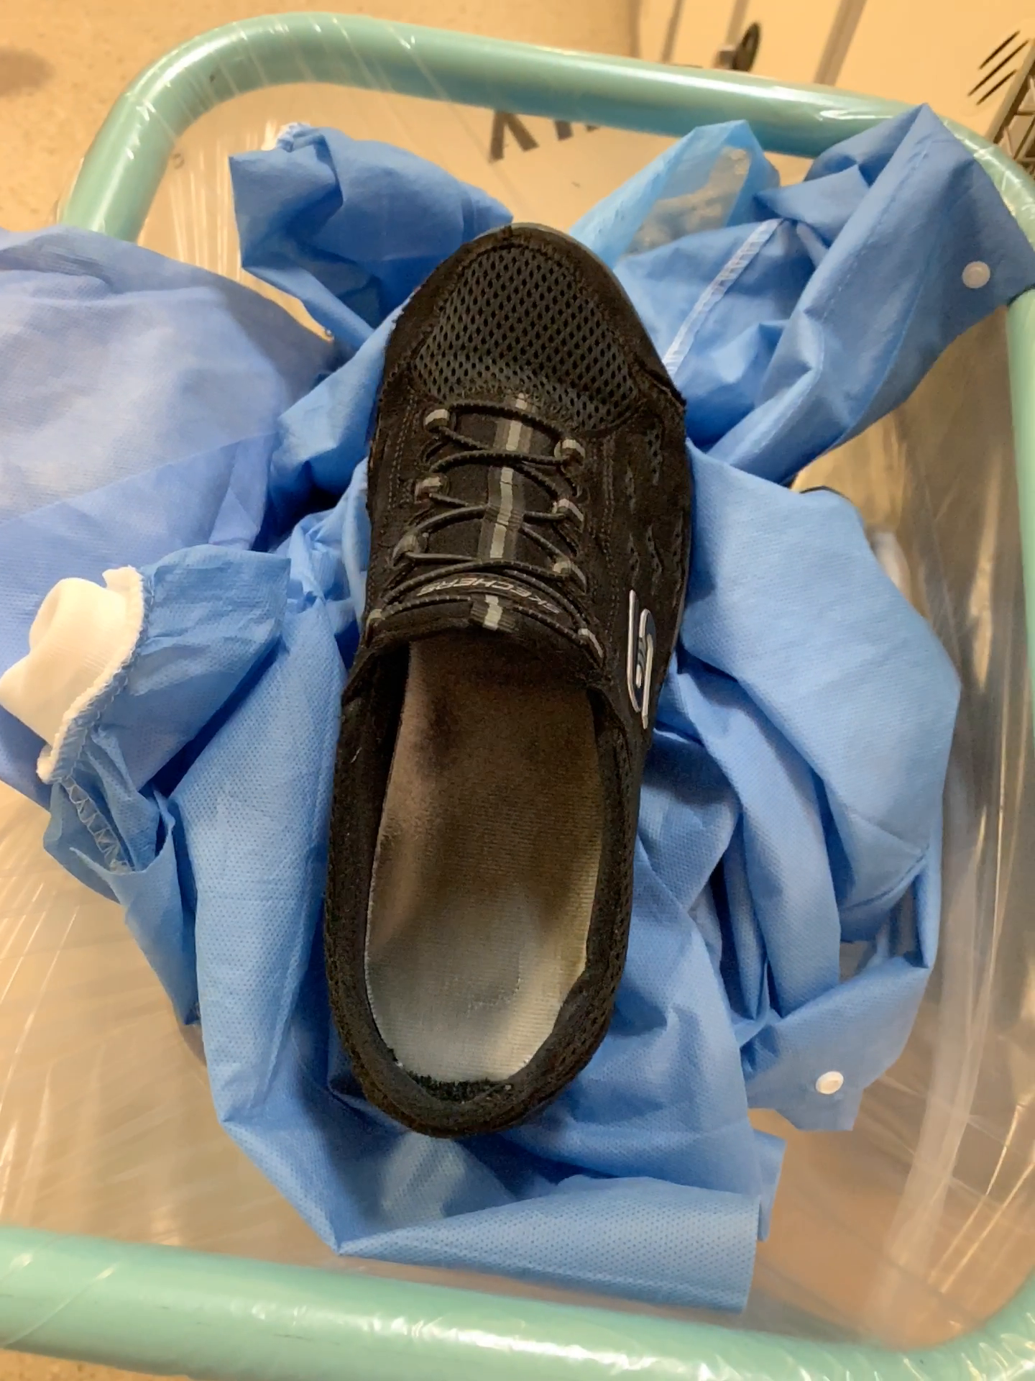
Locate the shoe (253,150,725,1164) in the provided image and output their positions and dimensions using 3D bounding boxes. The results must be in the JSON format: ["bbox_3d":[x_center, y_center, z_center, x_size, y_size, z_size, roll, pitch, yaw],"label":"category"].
[{"bbox_3d":[0.001,-0.013,0.298,0.088,0.094,0.255,6,68,-2],"label":"shoe"}]
